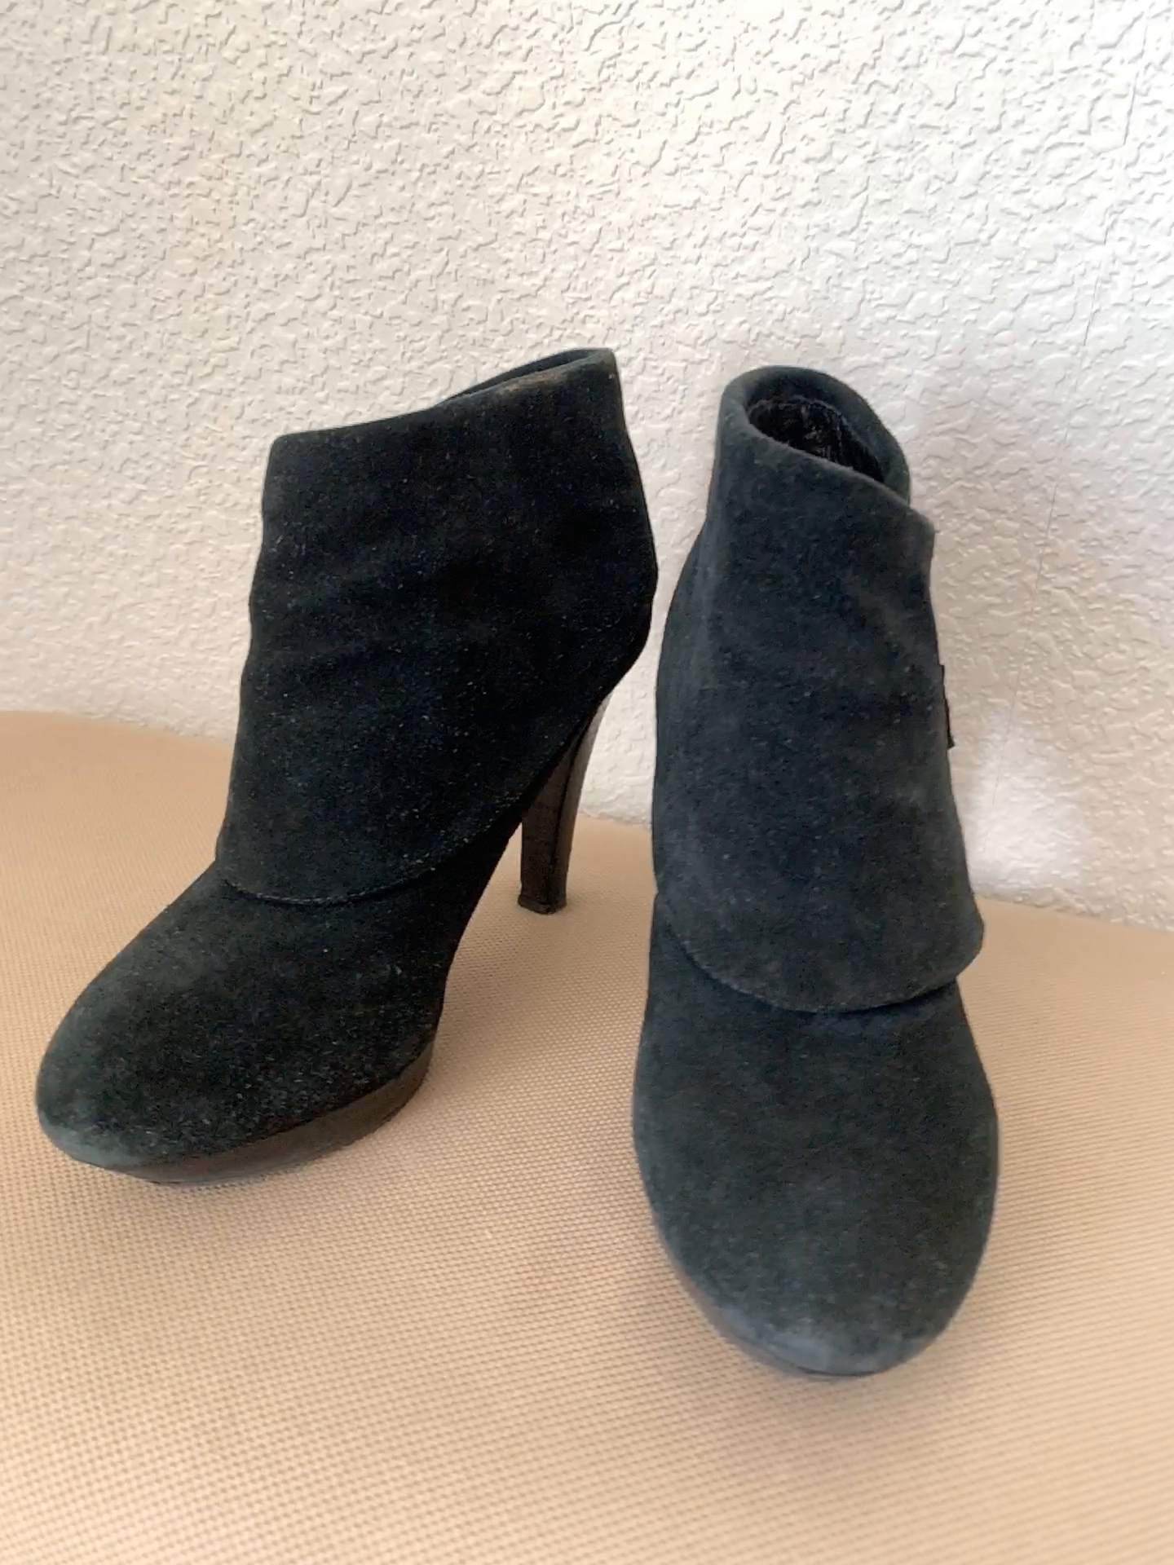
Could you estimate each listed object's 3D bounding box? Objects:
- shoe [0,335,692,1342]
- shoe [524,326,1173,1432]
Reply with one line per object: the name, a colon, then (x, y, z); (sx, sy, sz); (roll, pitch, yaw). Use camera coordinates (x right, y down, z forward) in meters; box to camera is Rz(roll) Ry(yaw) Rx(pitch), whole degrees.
shoe: (-0.074, -0.012, 0.312); (0.090, 0.166, 0.218); (20, 33, 31)
shoe: (0.038, -0.004, 0.286); (0.090, 0.166, 0.218); (1, 28, 0)
